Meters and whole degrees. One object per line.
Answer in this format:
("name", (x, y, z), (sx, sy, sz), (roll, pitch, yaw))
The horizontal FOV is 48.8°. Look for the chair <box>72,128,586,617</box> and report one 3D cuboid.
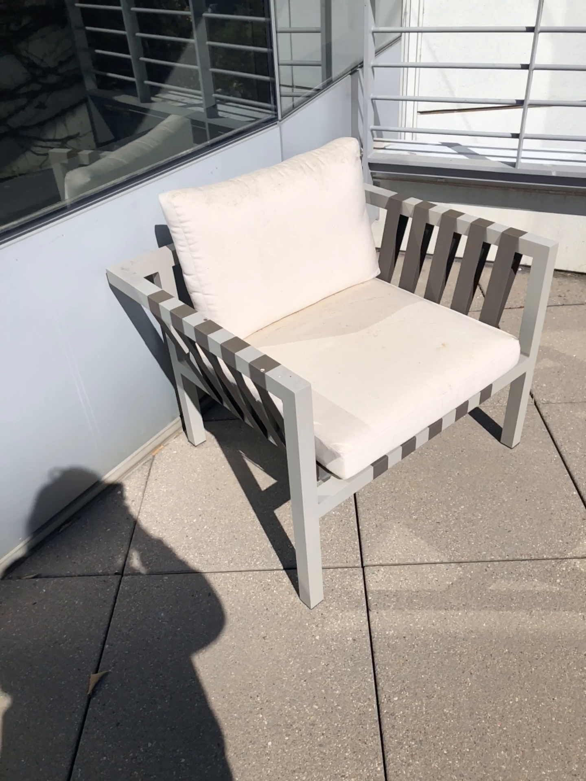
("chair", (0.096, -0.144, 1.681), (0.871, 0.736, 0.783), (-30, 43, -31))
